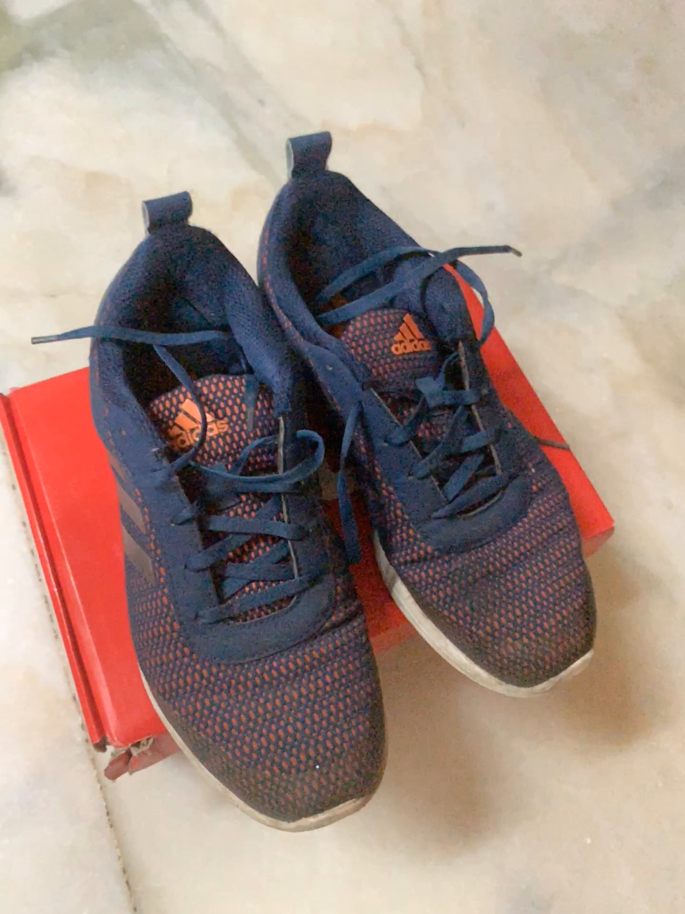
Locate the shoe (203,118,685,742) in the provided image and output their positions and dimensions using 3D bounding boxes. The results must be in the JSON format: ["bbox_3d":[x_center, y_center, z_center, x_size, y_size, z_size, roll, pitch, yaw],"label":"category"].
[{"bbox_3d":[0.038,-0.022,0.345,0.100,0.080,0.281,-24,72,-16],"label":"shoe"}]

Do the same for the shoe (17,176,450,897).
[{"bbox_3d":[-0.064,0.022,0.348,0.100,0.100,0.301,-16,70,-13],"label":"shoe"}]
